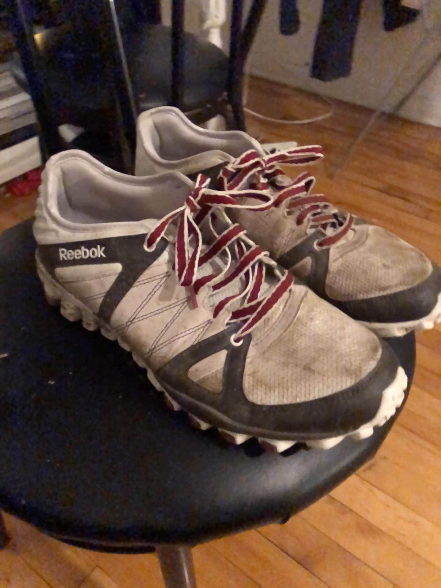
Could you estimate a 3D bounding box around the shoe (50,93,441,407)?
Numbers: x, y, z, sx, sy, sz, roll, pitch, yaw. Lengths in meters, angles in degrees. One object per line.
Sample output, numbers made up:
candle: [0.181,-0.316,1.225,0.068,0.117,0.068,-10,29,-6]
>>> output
shoe: [0.024,-0.057,0.392,0.311,0.099,0.121,27,48,25]

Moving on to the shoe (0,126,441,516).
shoe: [-0.032,-0.007,0.327,0.311,0.099,0.101,27,48,25]
